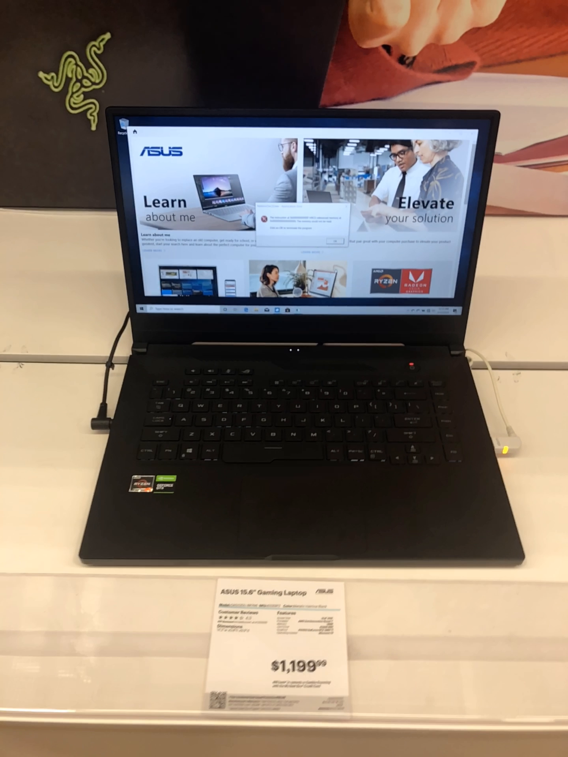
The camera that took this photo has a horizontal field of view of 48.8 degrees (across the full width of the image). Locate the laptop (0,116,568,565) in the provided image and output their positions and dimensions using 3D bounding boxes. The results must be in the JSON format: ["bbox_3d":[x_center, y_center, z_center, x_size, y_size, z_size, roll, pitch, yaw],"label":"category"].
[{"bbox_3d":[0.023,-0.044,0.514,0.351,0.222,0.311,0,44,0],"label":"laptop"}]
